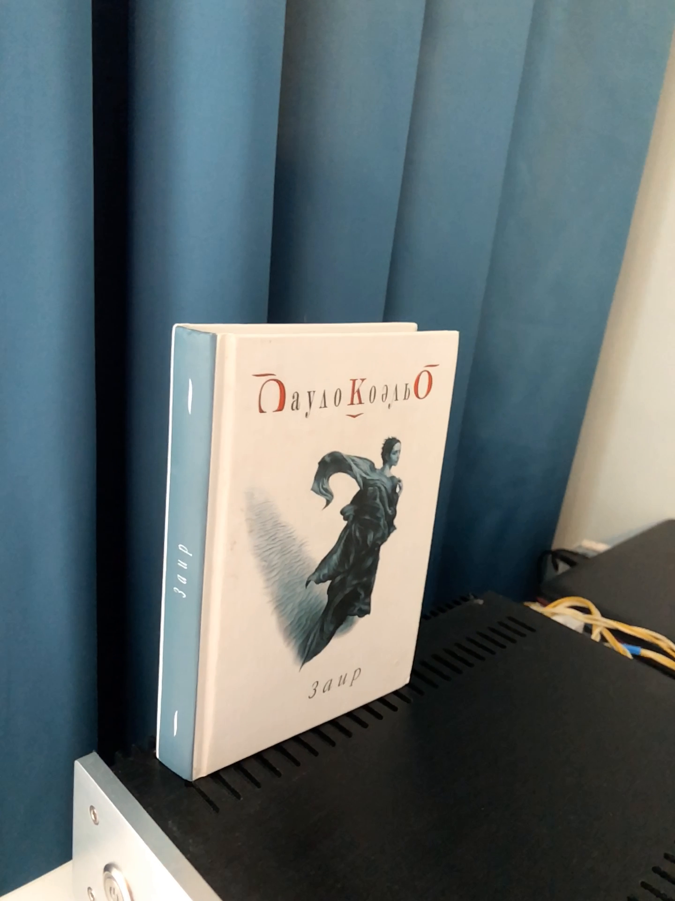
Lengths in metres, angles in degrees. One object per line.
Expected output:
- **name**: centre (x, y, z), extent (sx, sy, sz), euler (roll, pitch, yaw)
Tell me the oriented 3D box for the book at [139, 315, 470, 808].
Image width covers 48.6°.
- **book**: centre (-0.012, 0.037, 0.309), extent (0.130, 0.179, 0.030), euler (-8, 22, -39)
